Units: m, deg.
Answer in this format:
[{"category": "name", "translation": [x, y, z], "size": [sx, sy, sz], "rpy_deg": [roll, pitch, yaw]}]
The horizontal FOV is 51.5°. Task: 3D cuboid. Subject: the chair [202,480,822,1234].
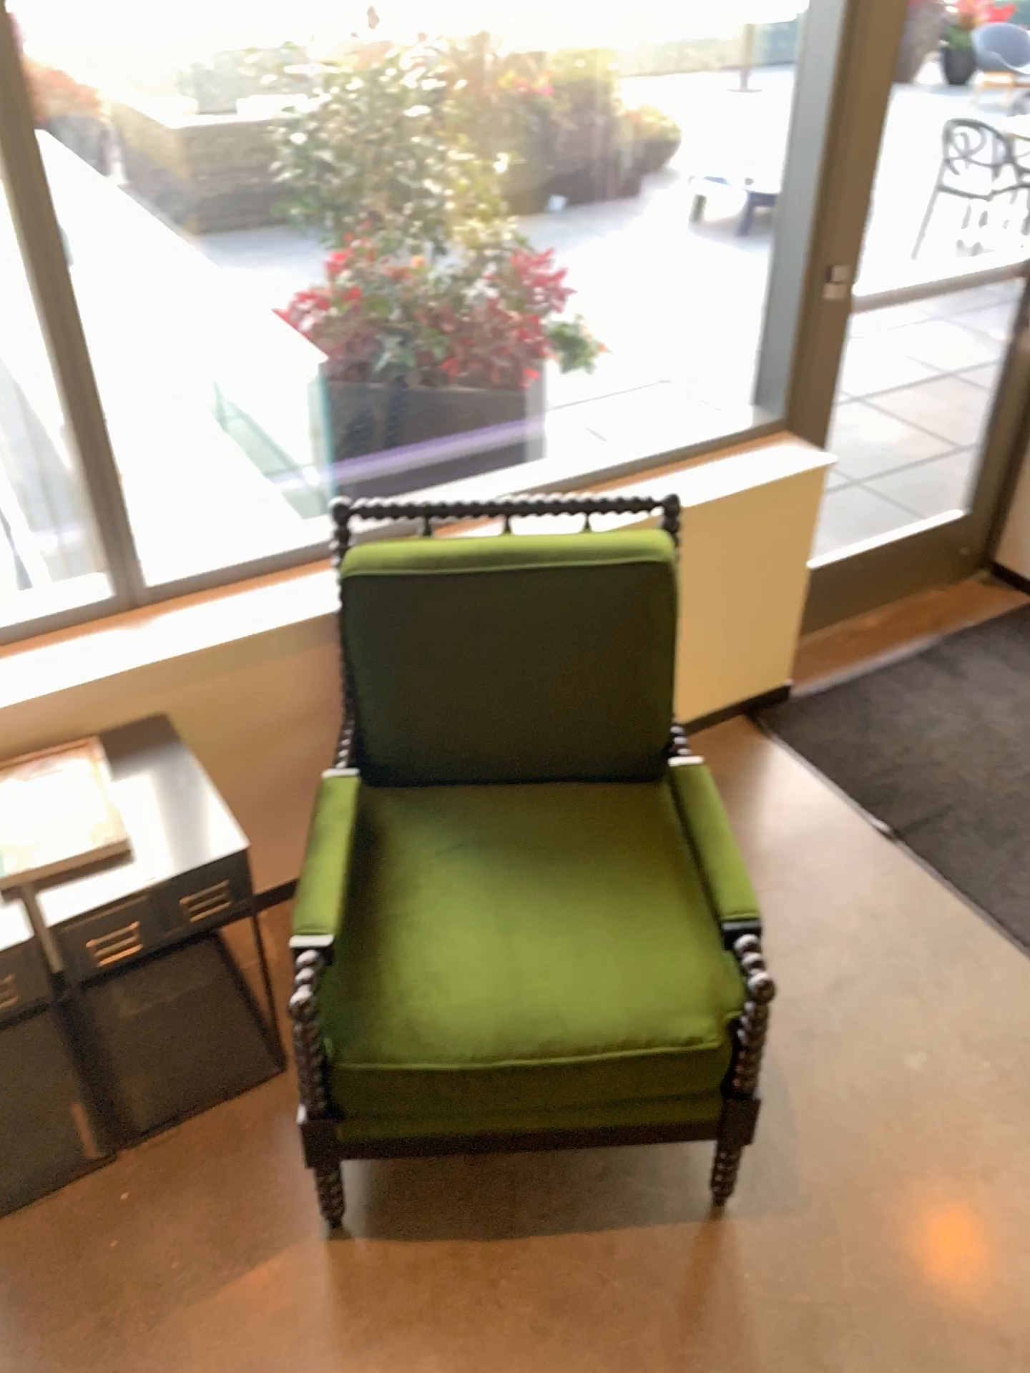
[{"category": "chair", "translation": [-0.019, 0.284, 1.971], "size": [0.760, 0.984, 0.926], "rpy_deg": [-2, 37, -2]}]
